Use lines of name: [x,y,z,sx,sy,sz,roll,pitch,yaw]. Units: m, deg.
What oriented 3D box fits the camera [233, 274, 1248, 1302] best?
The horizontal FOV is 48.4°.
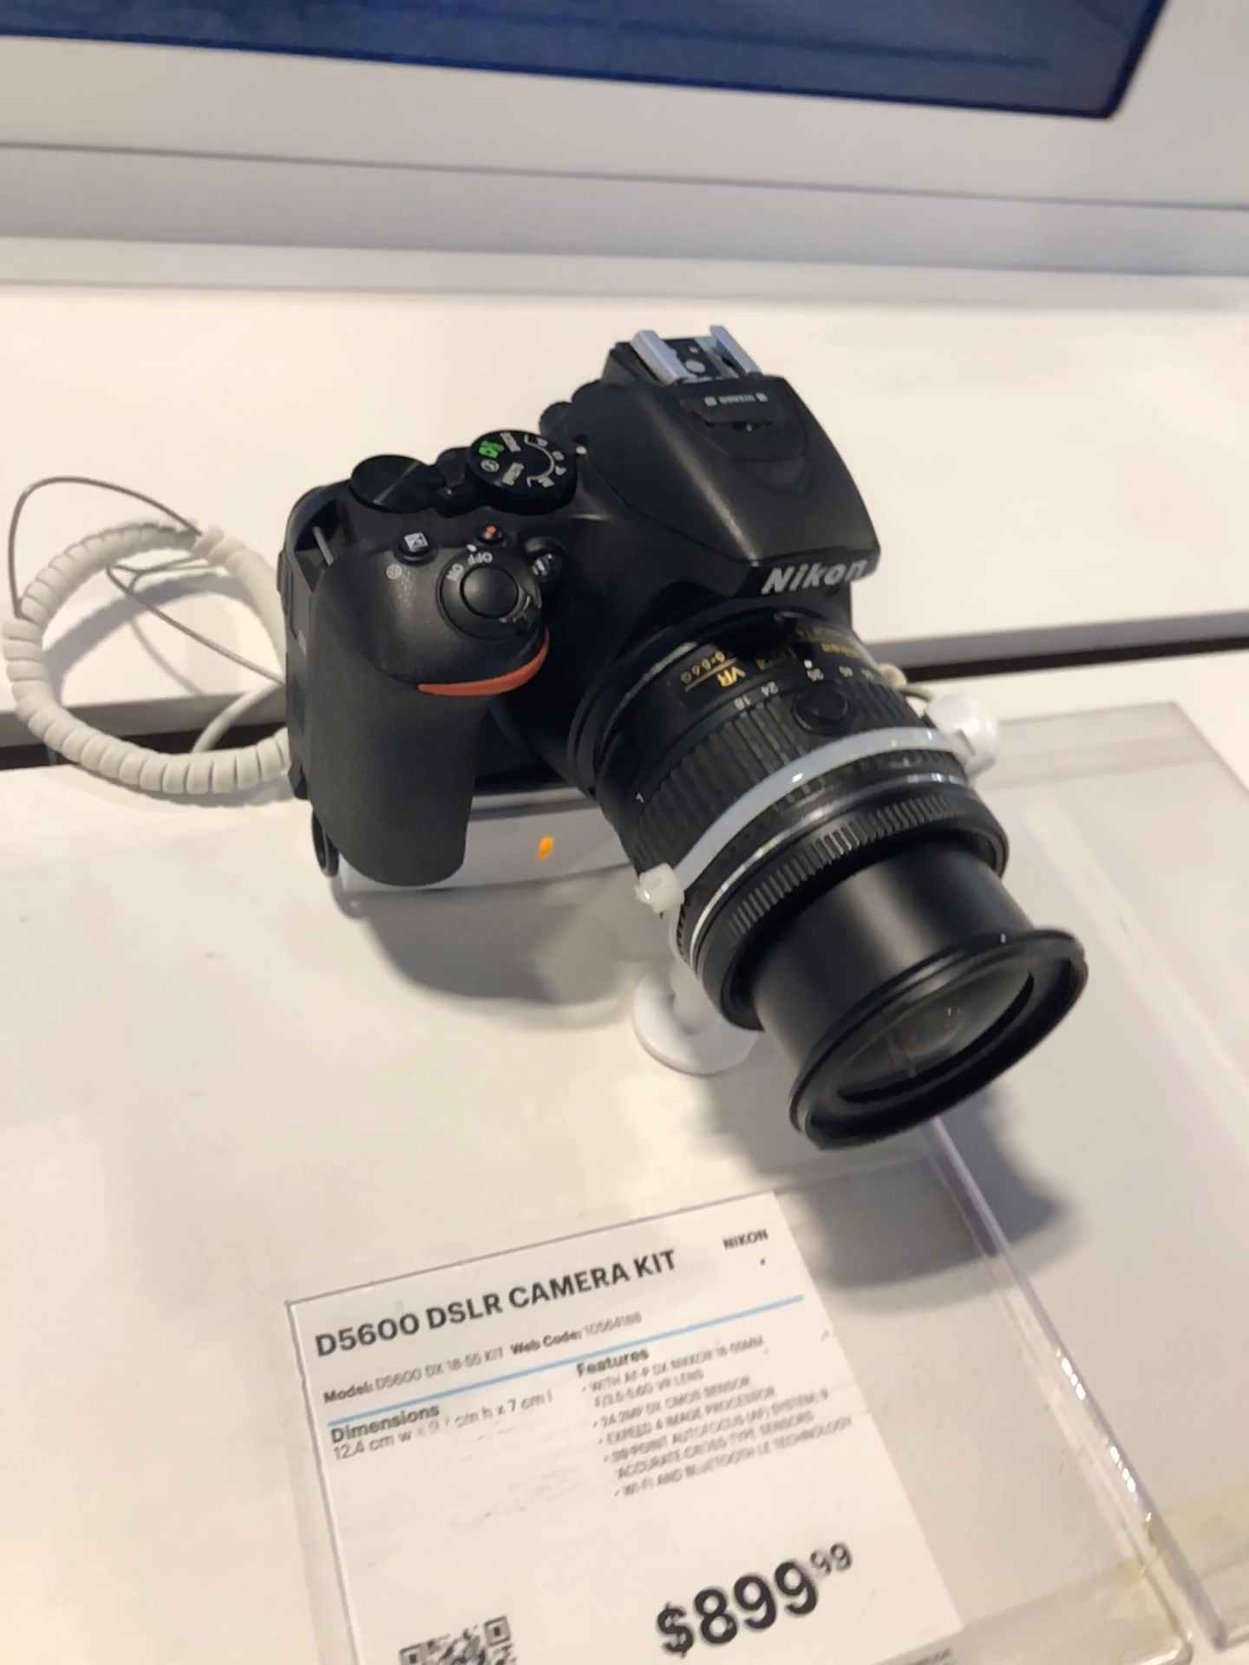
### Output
camera: [0.013,-0.022,0.259,0.130,0.089,0.151,-13,52,-24]
